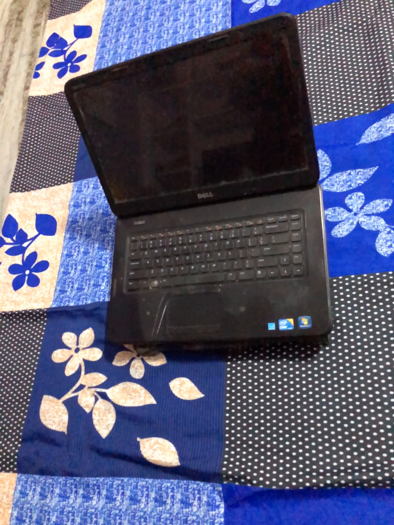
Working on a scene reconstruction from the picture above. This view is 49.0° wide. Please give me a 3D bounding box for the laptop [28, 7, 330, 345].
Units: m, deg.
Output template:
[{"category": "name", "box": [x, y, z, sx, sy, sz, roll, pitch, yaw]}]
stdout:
[{"category": "laptop", "box": [-0.012, -0.102, 0.653, 0.363, 0.187, 0.390, -7, 68, 20]}]
